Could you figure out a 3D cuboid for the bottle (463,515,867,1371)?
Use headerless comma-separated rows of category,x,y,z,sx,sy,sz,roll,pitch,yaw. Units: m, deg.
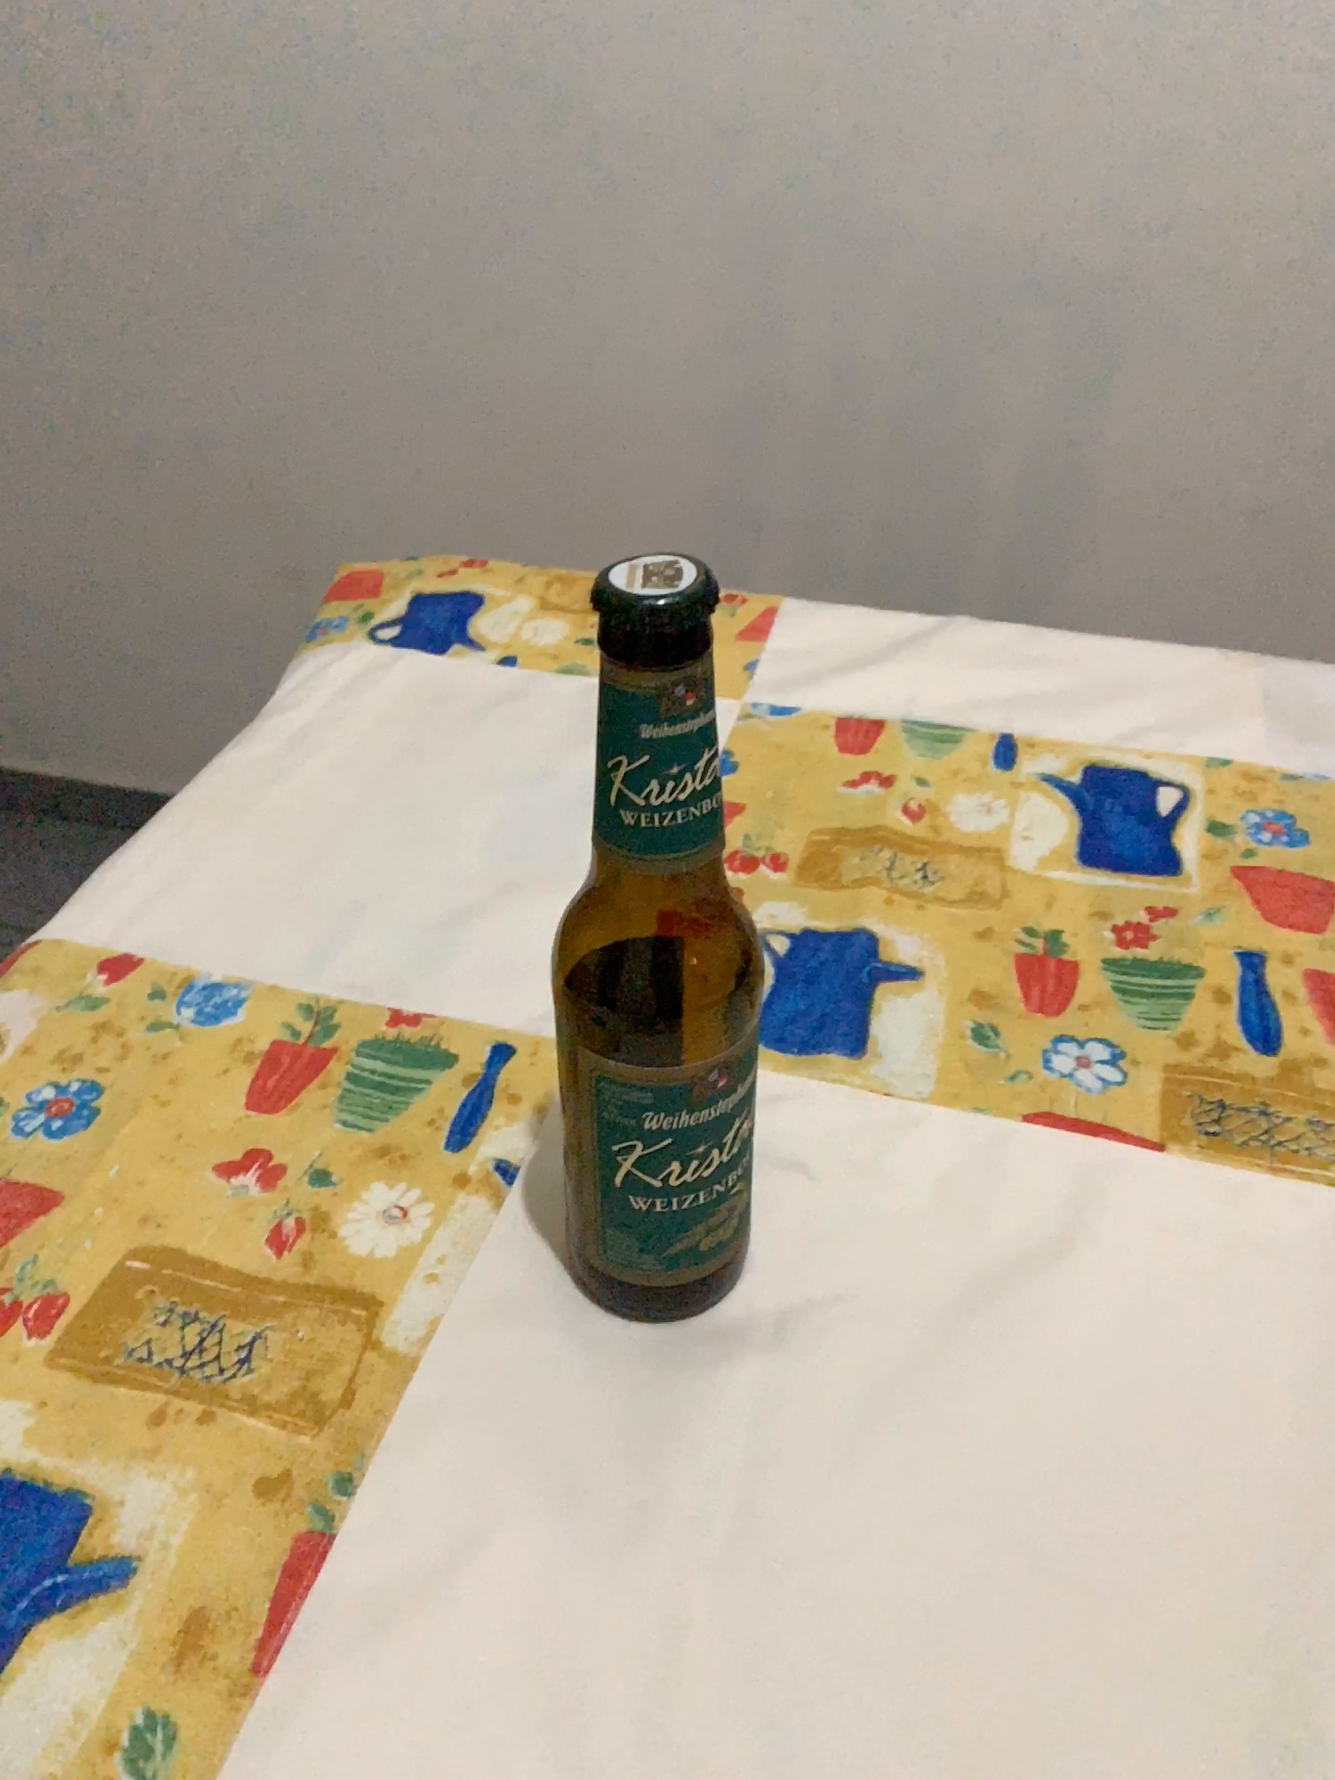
bottle,-0.001,0.025,0.375,0.070,0.229,0.060,-19,40,-24
